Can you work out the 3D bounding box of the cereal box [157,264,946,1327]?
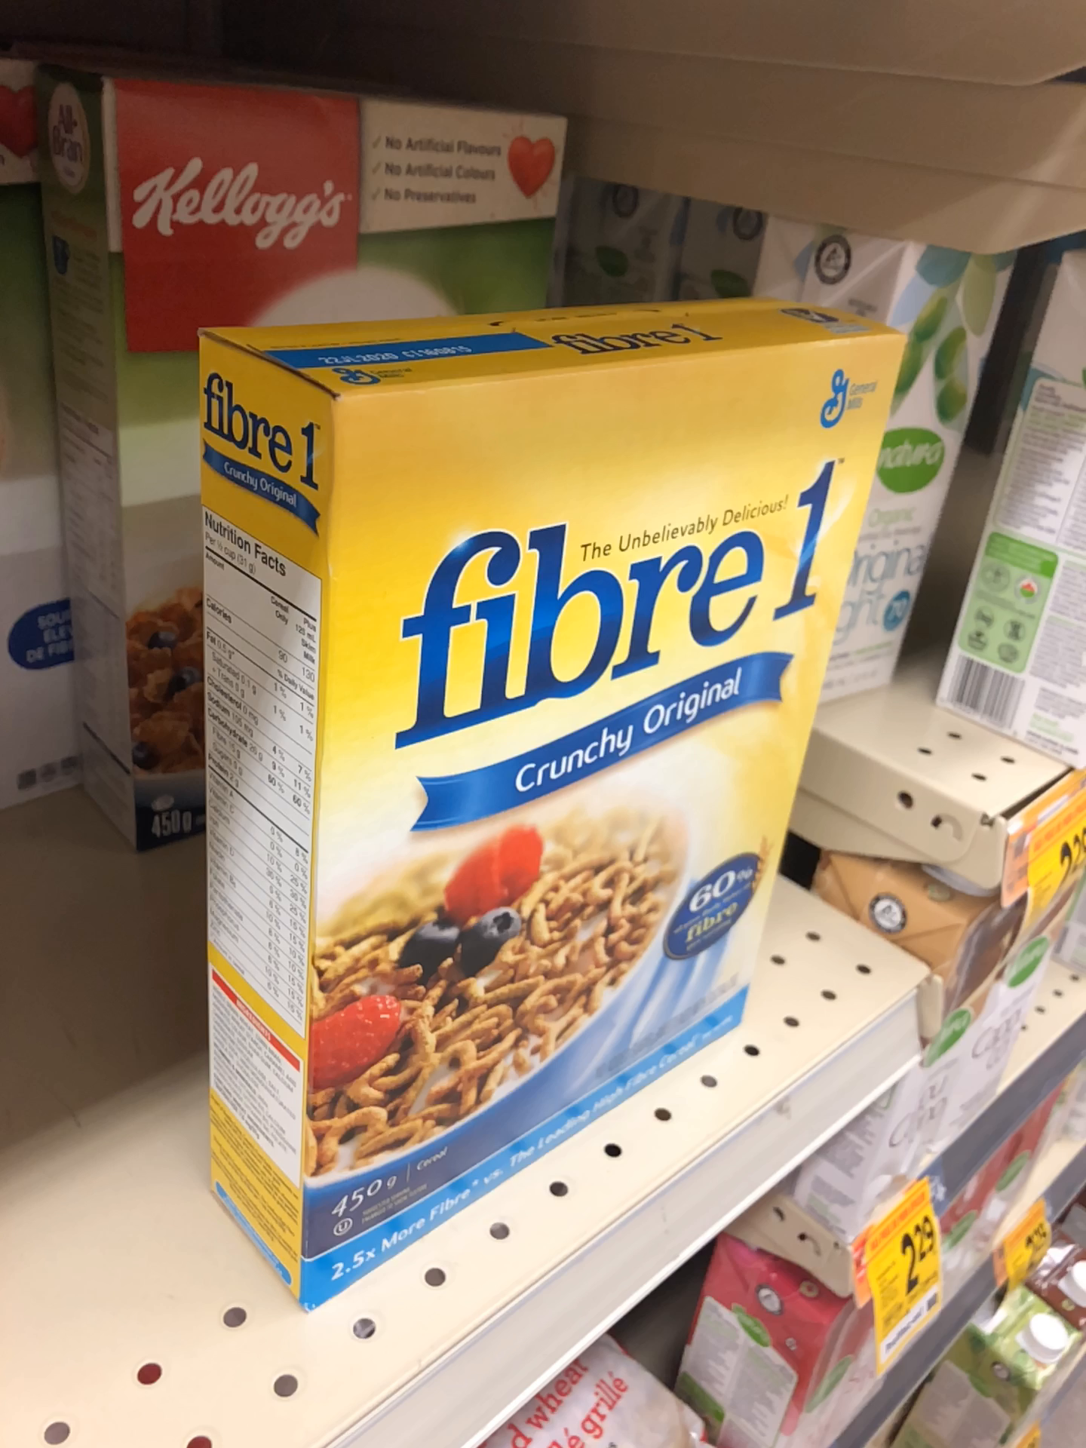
[{"bbox_3d":[0.002,0.012,0.359,0.211,0.268,0.060,-19,39,-40],"label":"cereal box"}]
